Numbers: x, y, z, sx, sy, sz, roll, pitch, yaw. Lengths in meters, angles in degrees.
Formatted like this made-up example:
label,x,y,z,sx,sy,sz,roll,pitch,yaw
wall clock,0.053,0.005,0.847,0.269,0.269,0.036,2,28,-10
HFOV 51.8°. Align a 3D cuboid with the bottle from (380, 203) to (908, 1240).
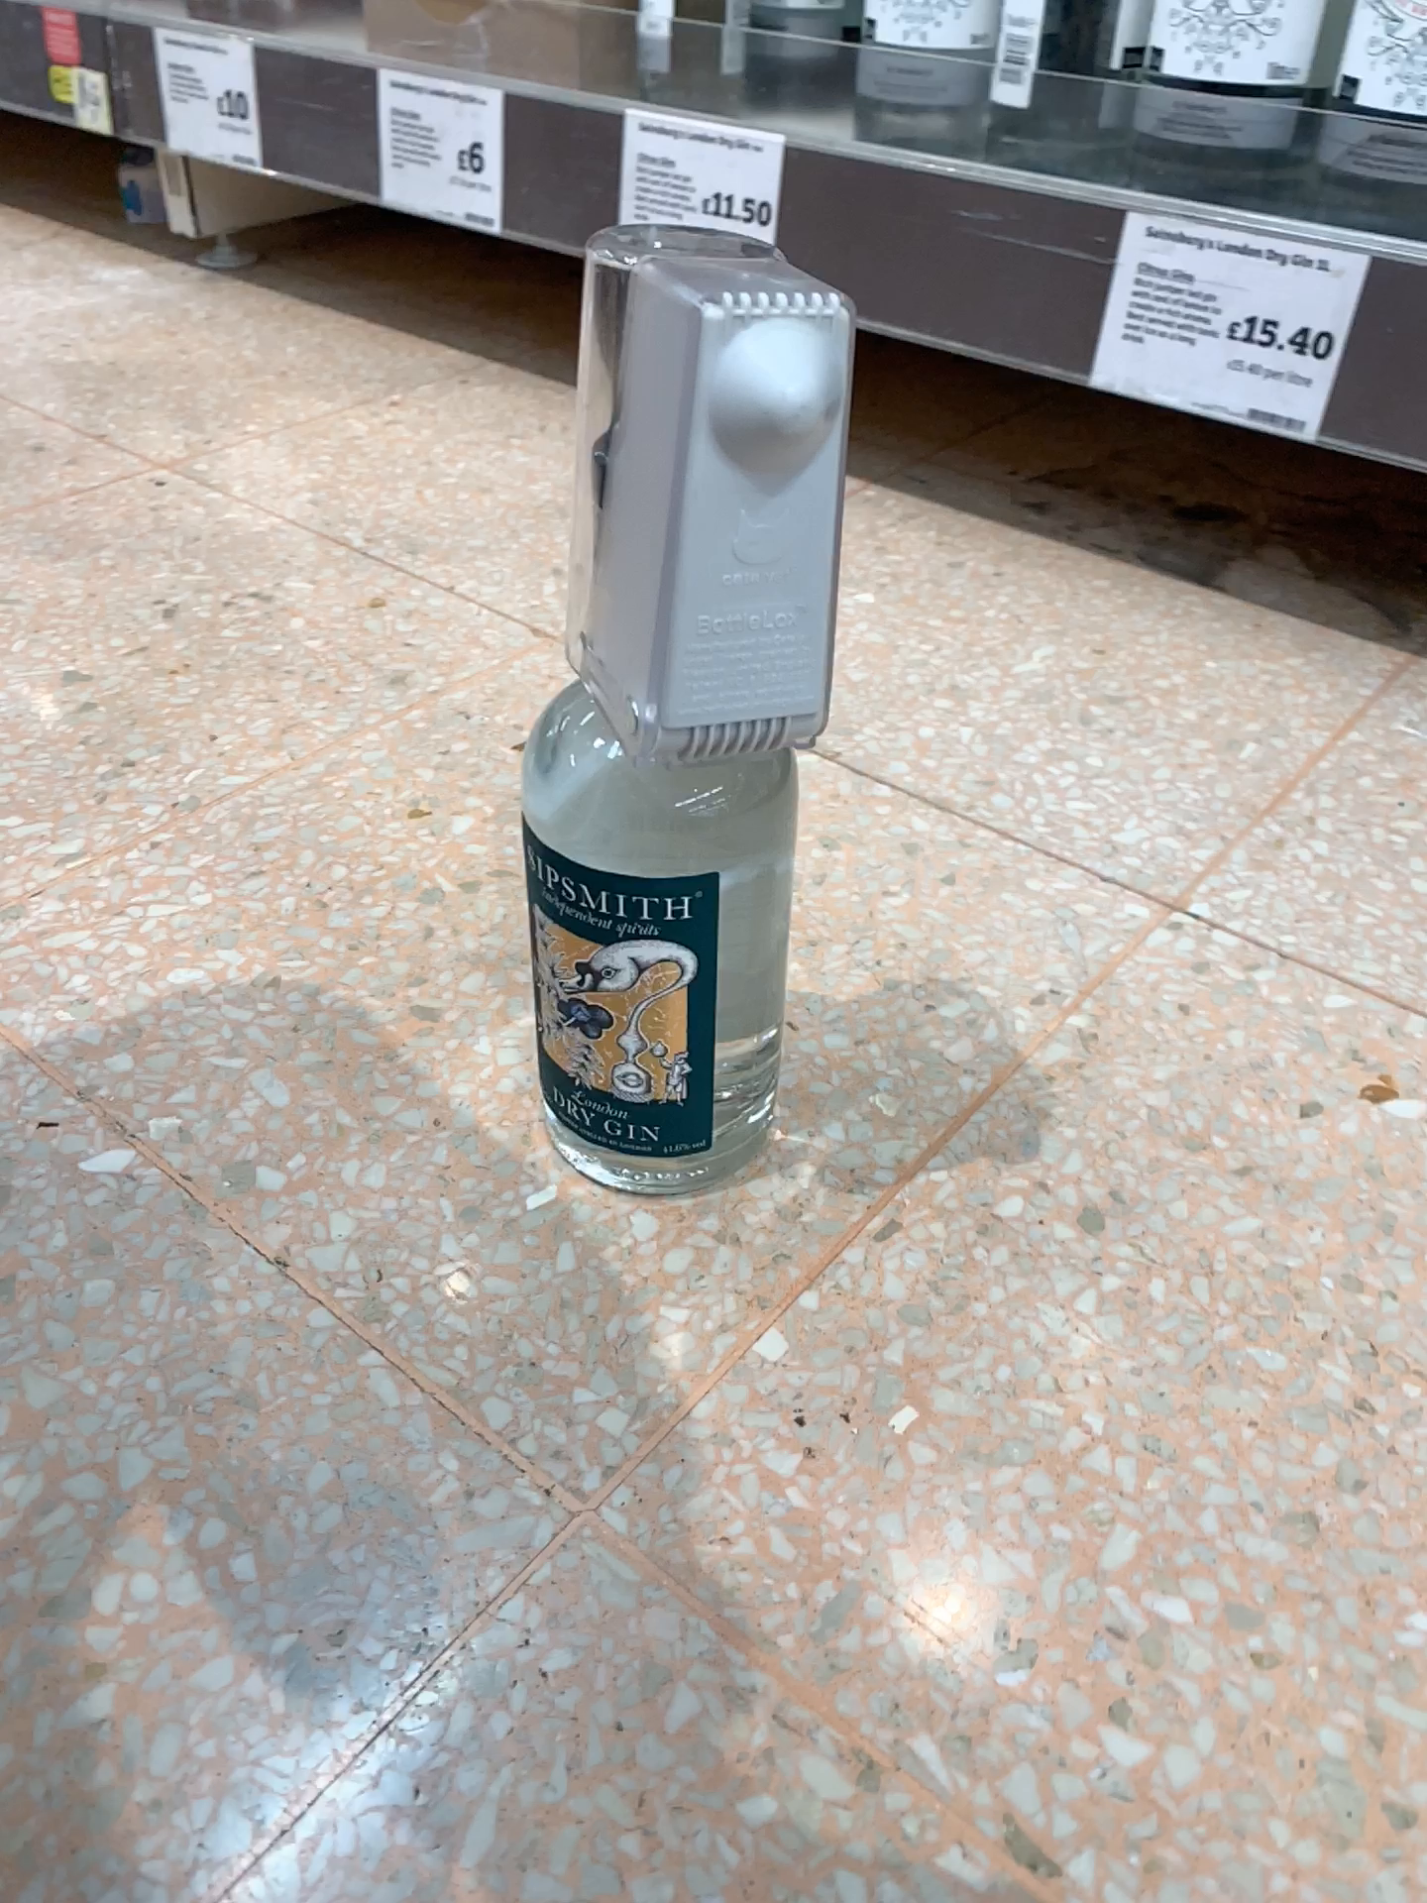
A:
label,x,y,z,sx,sy,sz,roll,pitch,yaw
bottle,-0.015,-0.044,0.348,0.075,0.222,0.069,1,38,-1
